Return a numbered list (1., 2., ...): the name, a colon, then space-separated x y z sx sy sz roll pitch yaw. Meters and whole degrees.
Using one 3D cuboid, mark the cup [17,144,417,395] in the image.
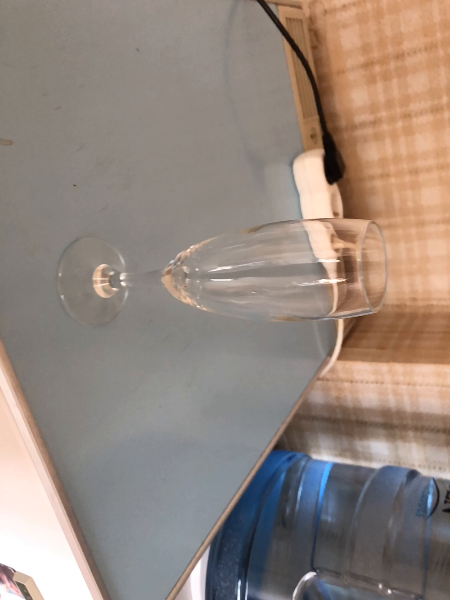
1. cup: -0.005 -0.015 0.295 0.090 0.199 0.090 6 83 -58
